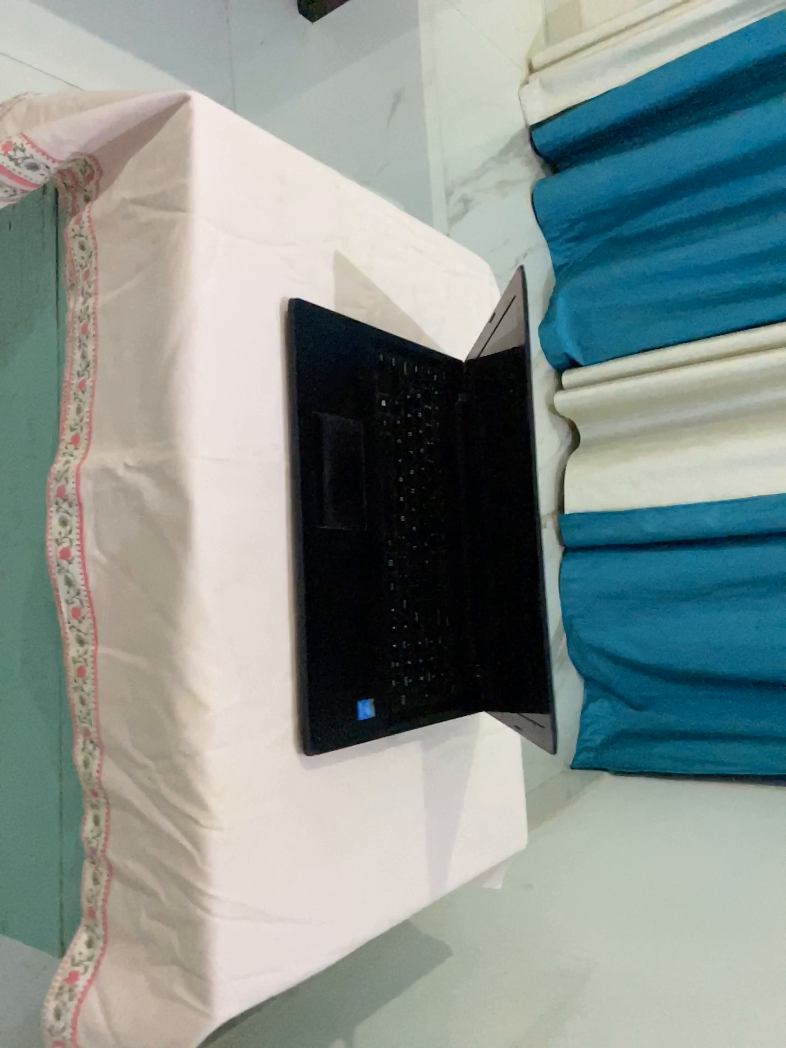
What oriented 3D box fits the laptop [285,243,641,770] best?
[{"bbox_3d":[0.069,-0.004,0.708,0.260,0.176,0.368,4,82,-52],"label":"laptop"}]
